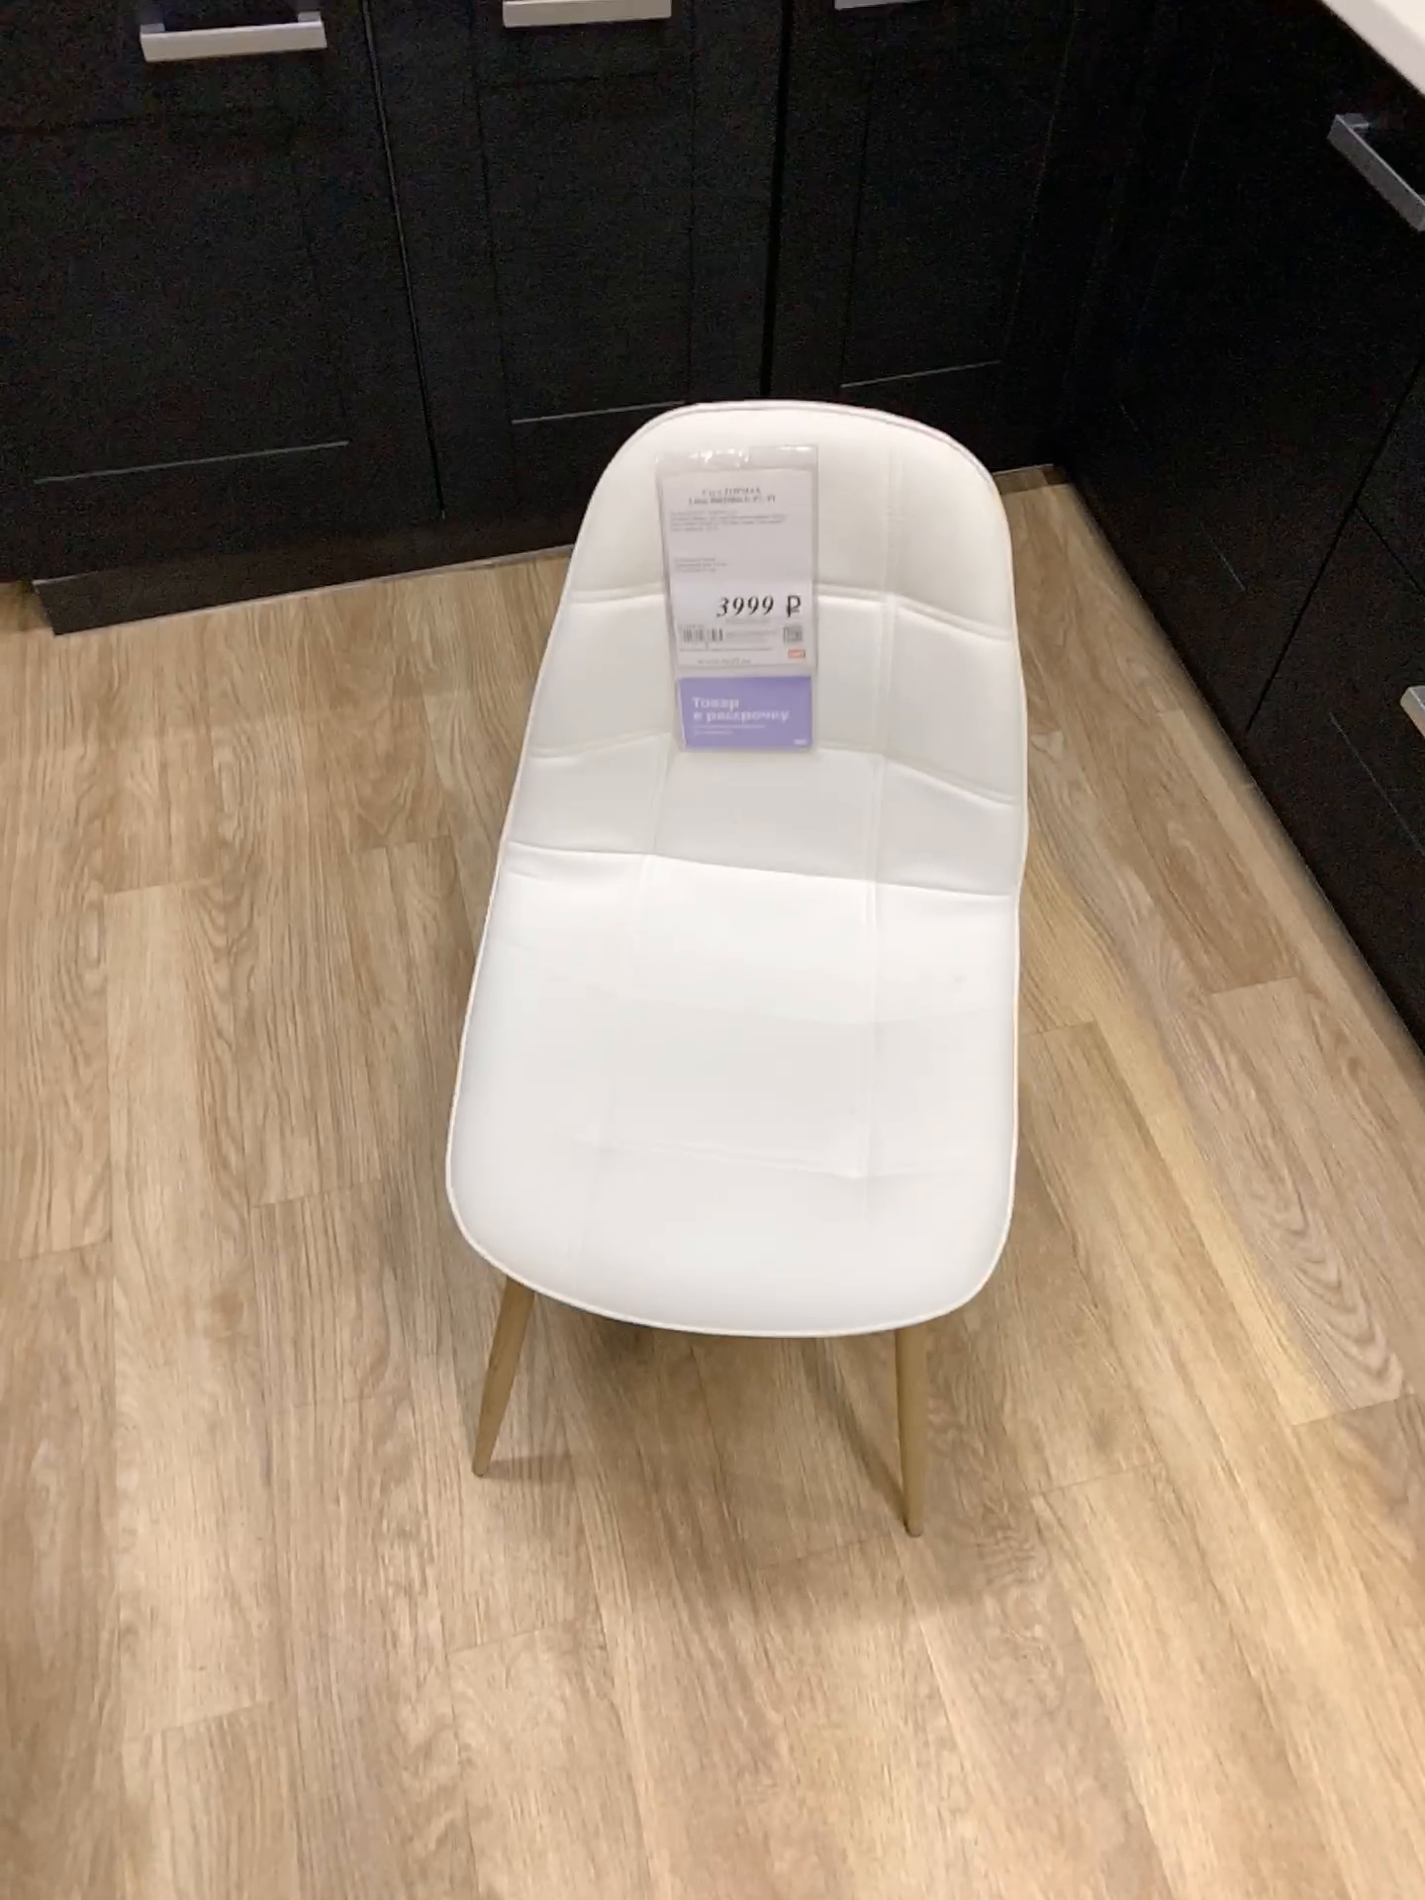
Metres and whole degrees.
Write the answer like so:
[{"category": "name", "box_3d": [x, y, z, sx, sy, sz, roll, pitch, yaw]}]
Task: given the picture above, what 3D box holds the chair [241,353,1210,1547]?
[{"category": "chair", "box_3d": [0.025, 0.068, 1.200, 0.470, 0.827, 0.572, 7, 55, 3]}]
